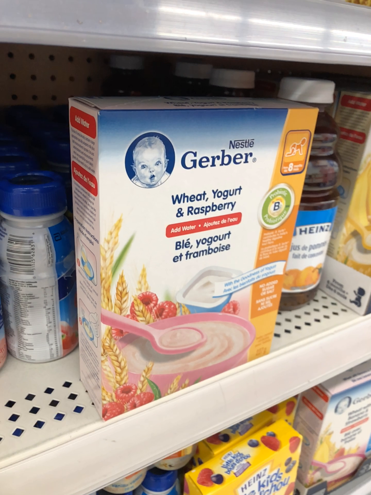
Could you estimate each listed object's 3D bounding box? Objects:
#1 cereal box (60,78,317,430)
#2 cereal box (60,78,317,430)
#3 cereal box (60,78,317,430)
[{"bbox_3d":[0.000,0.001,0.272,0.140,0.199,0.050,-10,28,-31],"label":"cereal box"},{"bbox_3d":[0.000,0.001,0.272,0.140,0.199,0.050,-10,28,-31],"label":"cereal box"},{"bbox_3d":[0.000,0.001,0.272,0.140,0.199,0.050,-10,28,-31],"label":"cereal box"}]
